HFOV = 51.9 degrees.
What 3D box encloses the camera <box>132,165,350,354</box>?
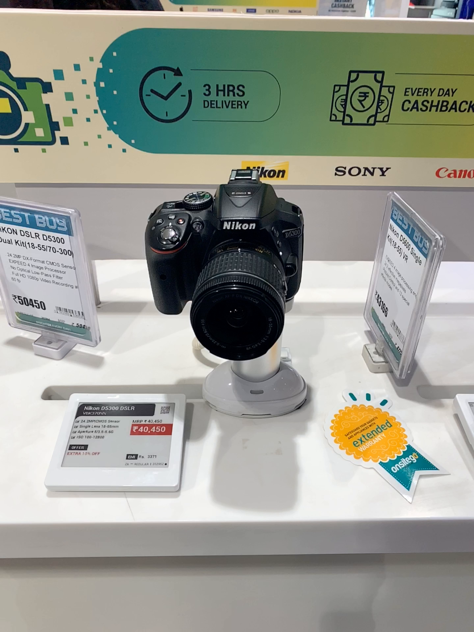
[{"bbox_3d":[0.001,-0.044,0.337,0.118,0.082,0.123,0,34,-1],"label":"camera"}]
